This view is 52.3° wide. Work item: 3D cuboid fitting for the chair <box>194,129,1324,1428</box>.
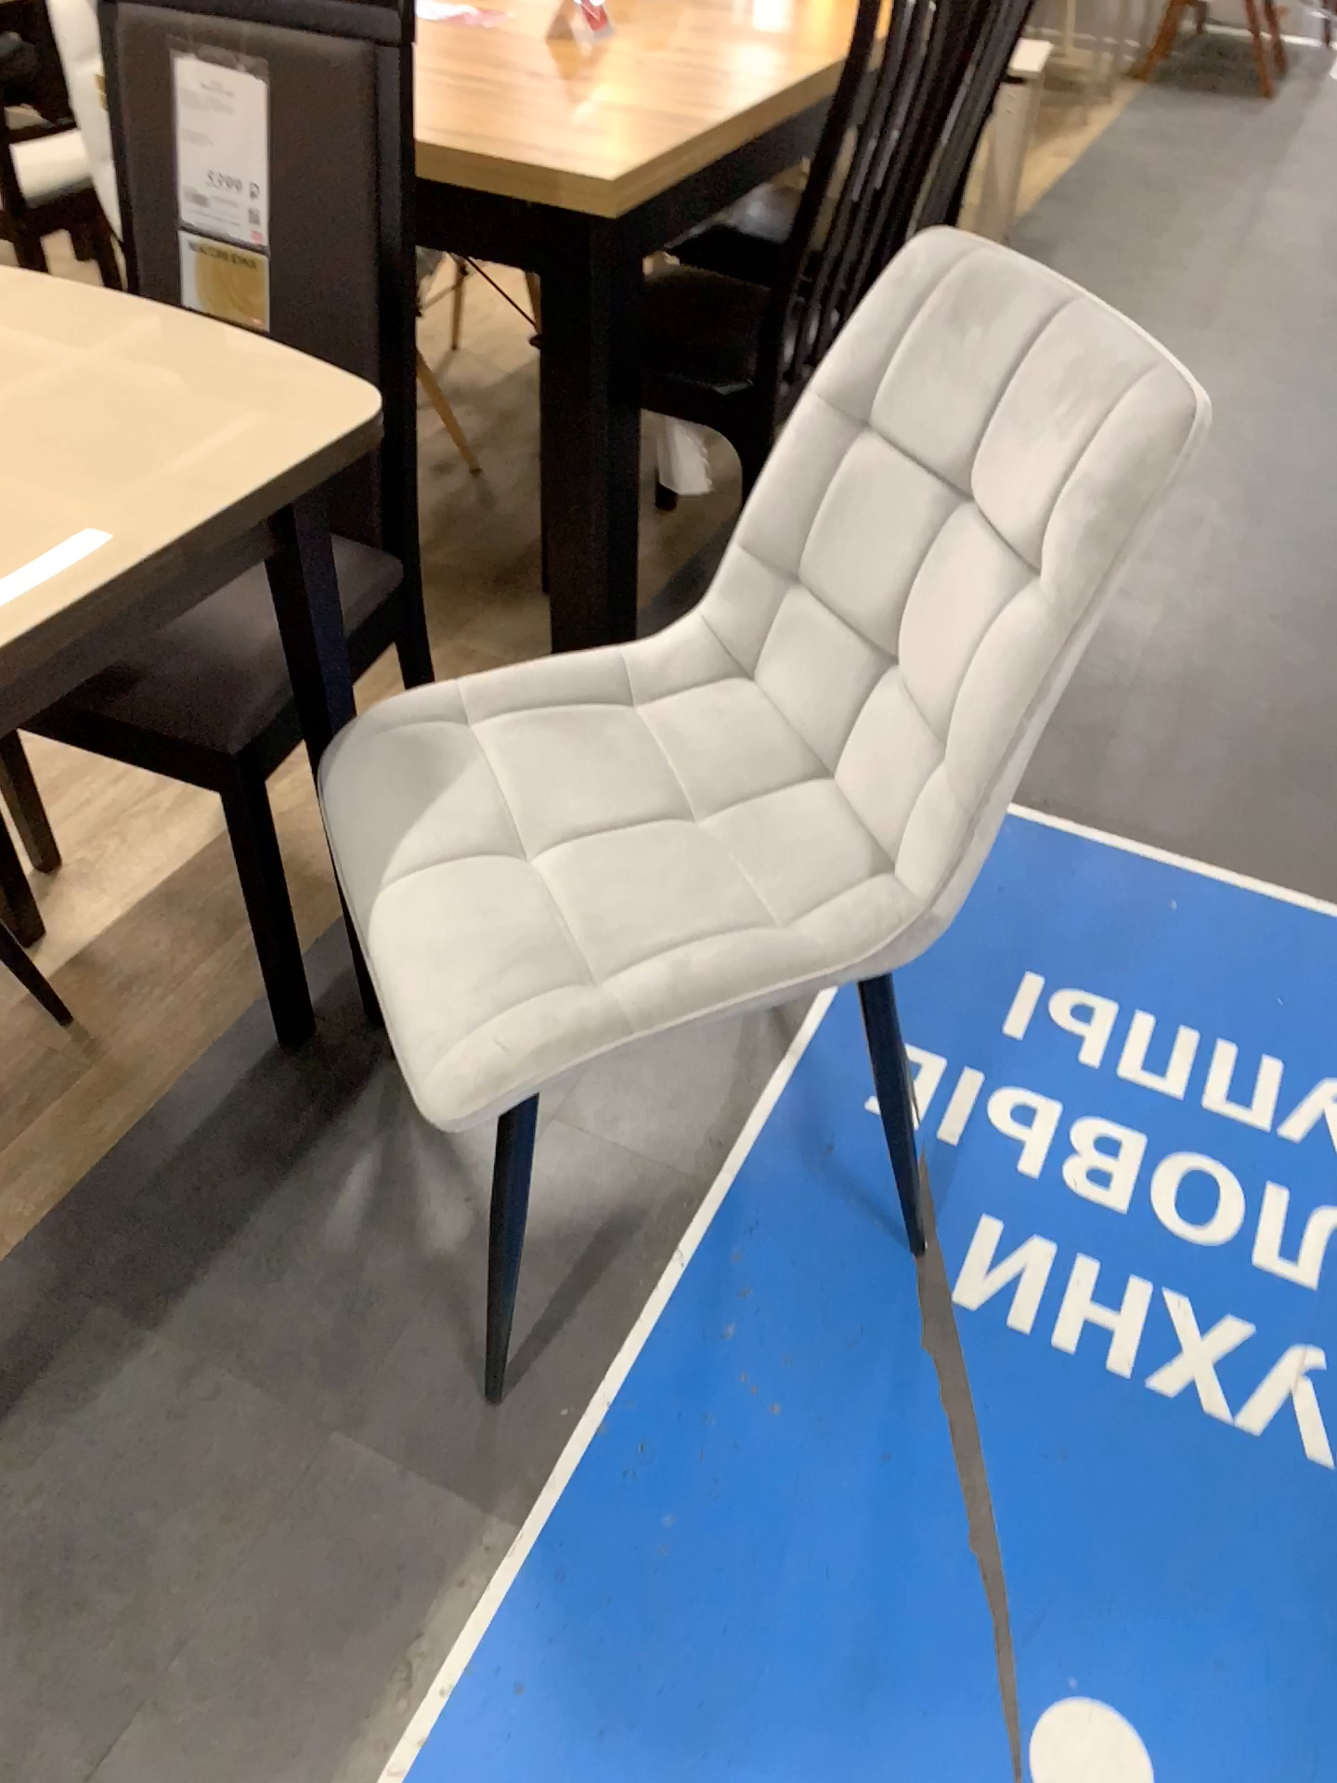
[{"bbox_3d":[0.011,-0.059,1.228,0.601,0.974,0.482,-13,46,-16],"label":"chair"}]
